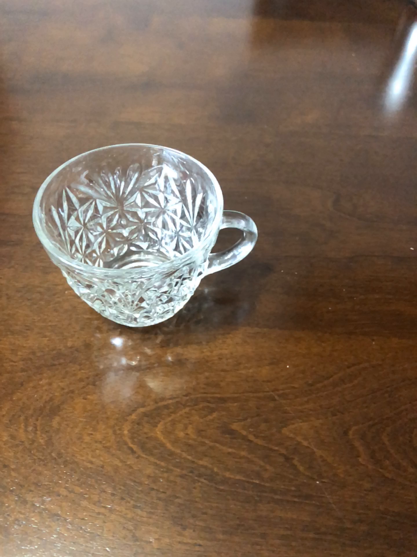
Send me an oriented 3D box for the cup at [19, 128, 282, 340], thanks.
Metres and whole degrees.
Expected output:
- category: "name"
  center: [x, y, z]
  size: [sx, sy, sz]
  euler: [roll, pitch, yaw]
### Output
- category: "cup"
  center: [-0.026, -0.022, 0.224]
  size: [0.100, 0.060, 0.070]
  euler: [-6, 50, -6]
